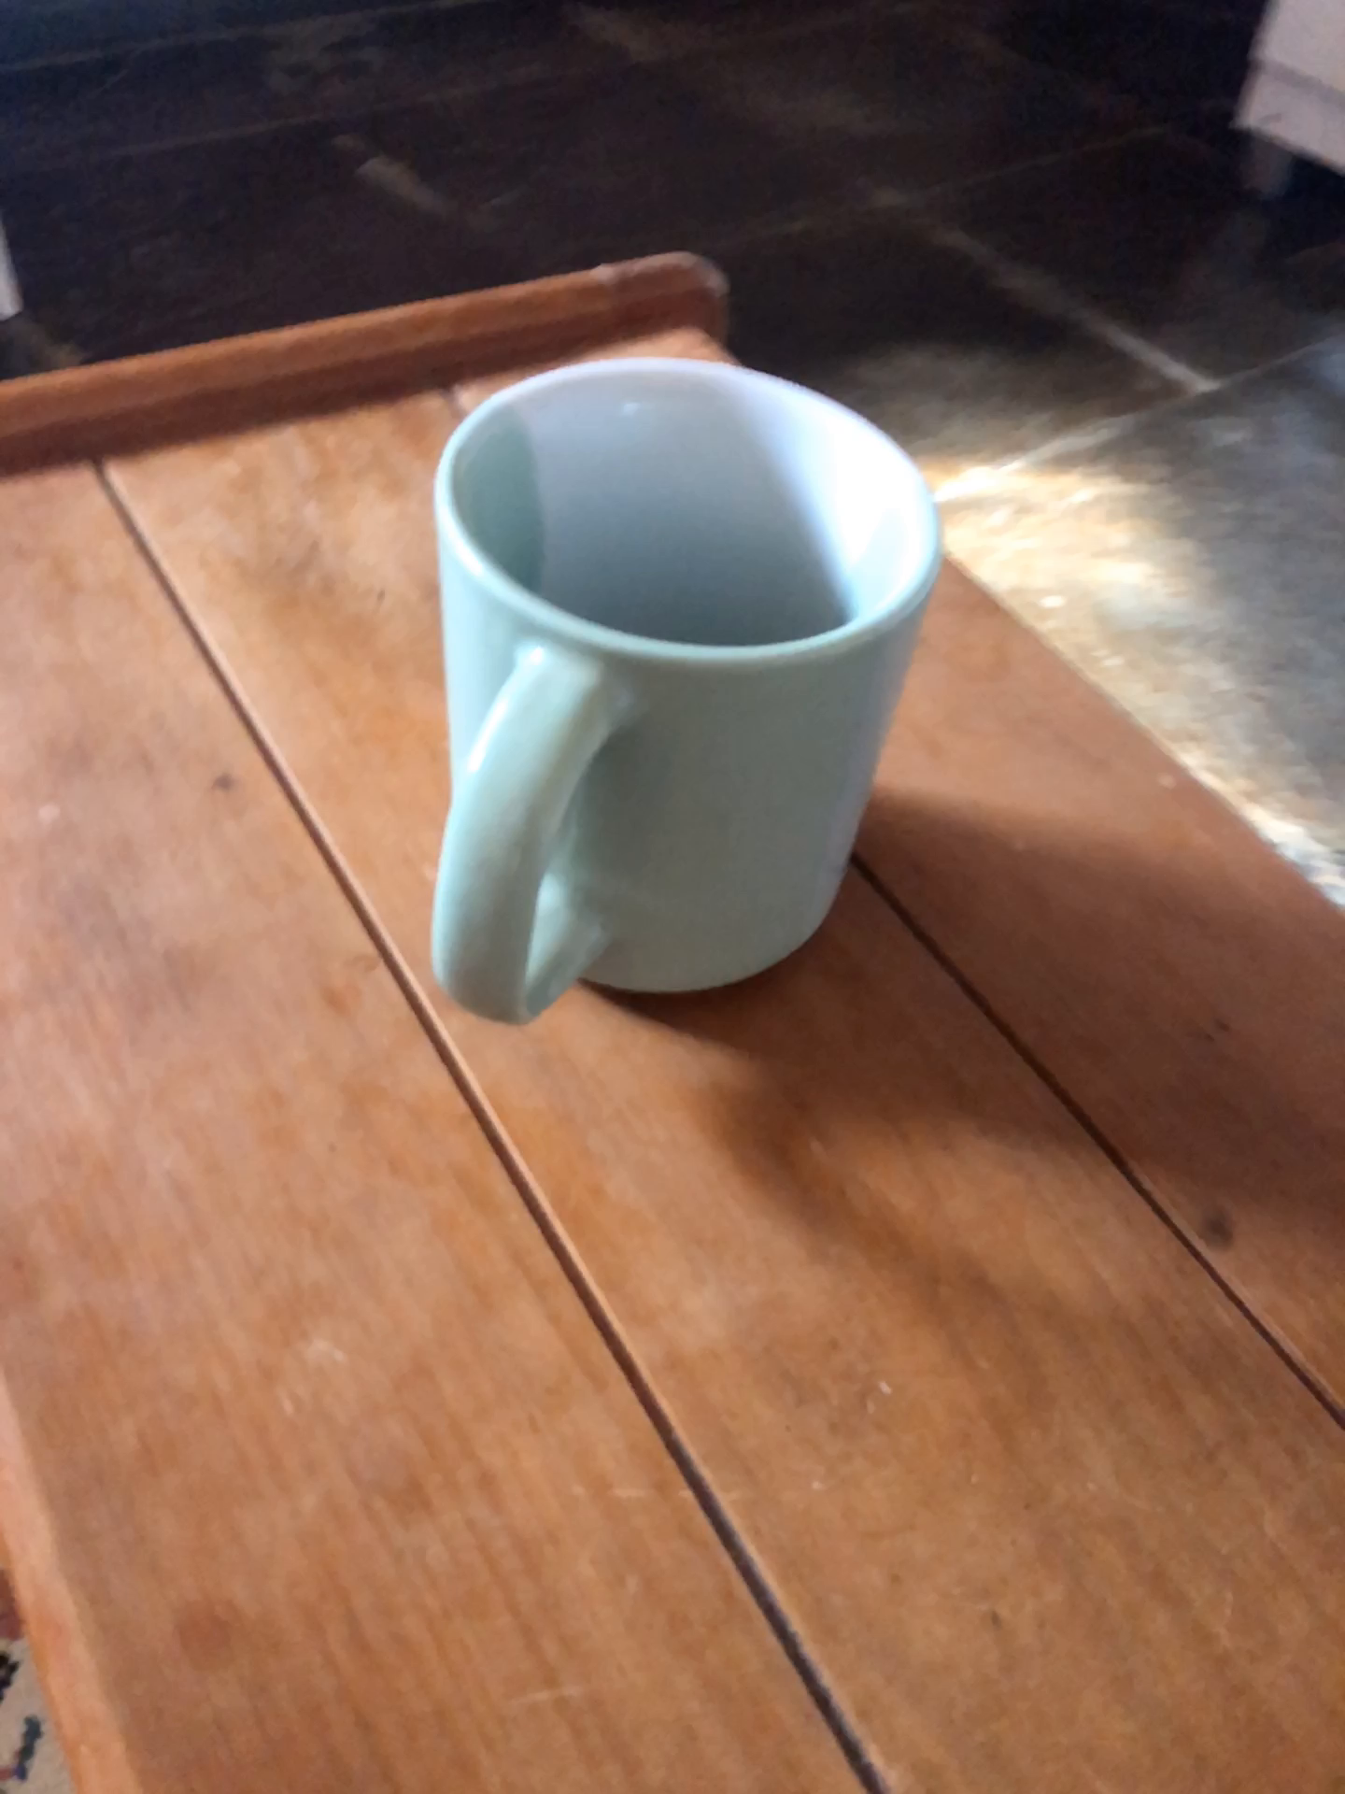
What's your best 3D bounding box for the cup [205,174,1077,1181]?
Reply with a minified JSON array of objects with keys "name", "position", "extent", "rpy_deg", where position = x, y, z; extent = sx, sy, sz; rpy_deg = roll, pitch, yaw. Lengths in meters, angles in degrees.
[{"name":"cup","position":[0.002,-0.043,0.247],"extent":[0.080,0.089,0.131],"rpy_deg":[21,50,12]}]
